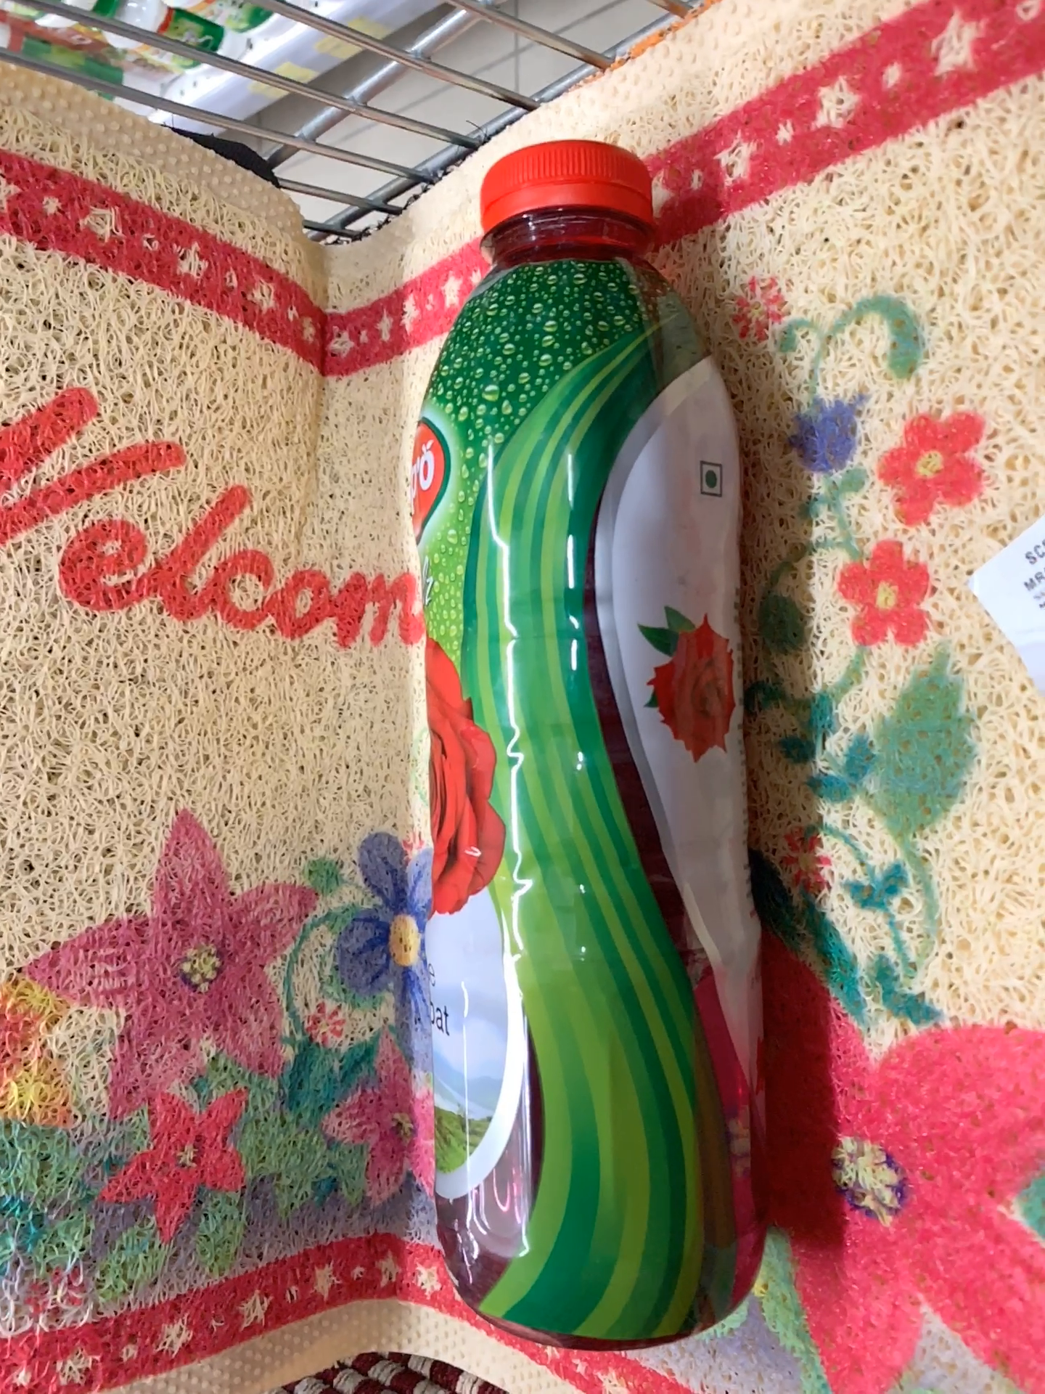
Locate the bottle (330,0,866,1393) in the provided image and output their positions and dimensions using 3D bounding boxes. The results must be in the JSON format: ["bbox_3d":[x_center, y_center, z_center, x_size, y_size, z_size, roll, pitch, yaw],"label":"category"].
[{"bbox_3d":[0.010,-0.002,0.230,0.080,0.080,0.250,-175,82,-76],"label":"bottle"}]
